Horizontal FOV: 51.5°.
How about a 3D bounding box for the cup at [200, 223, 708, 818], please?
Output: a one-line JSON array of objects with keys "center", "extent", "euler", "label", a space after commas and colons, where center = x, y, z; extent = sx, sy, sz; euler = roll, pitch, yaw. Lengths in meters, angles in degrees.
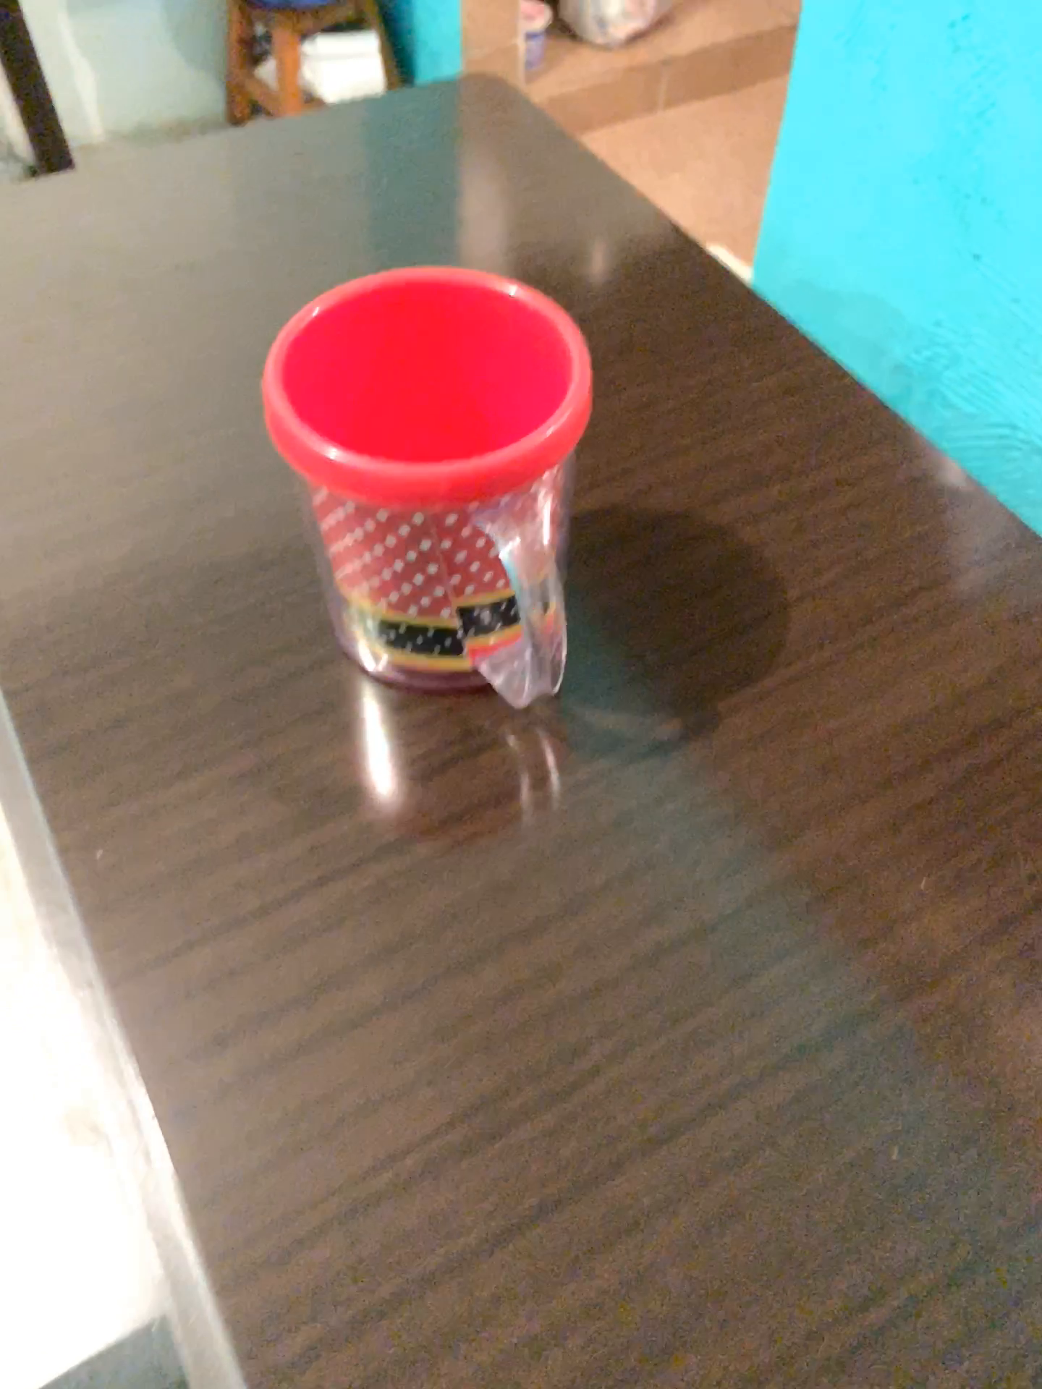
[{"center": [-0.022, -0.054, 0.337], "extent": [0.090, 0.110, 0.120], "euler": [-26, 58, -18], "label": "cup"}]
